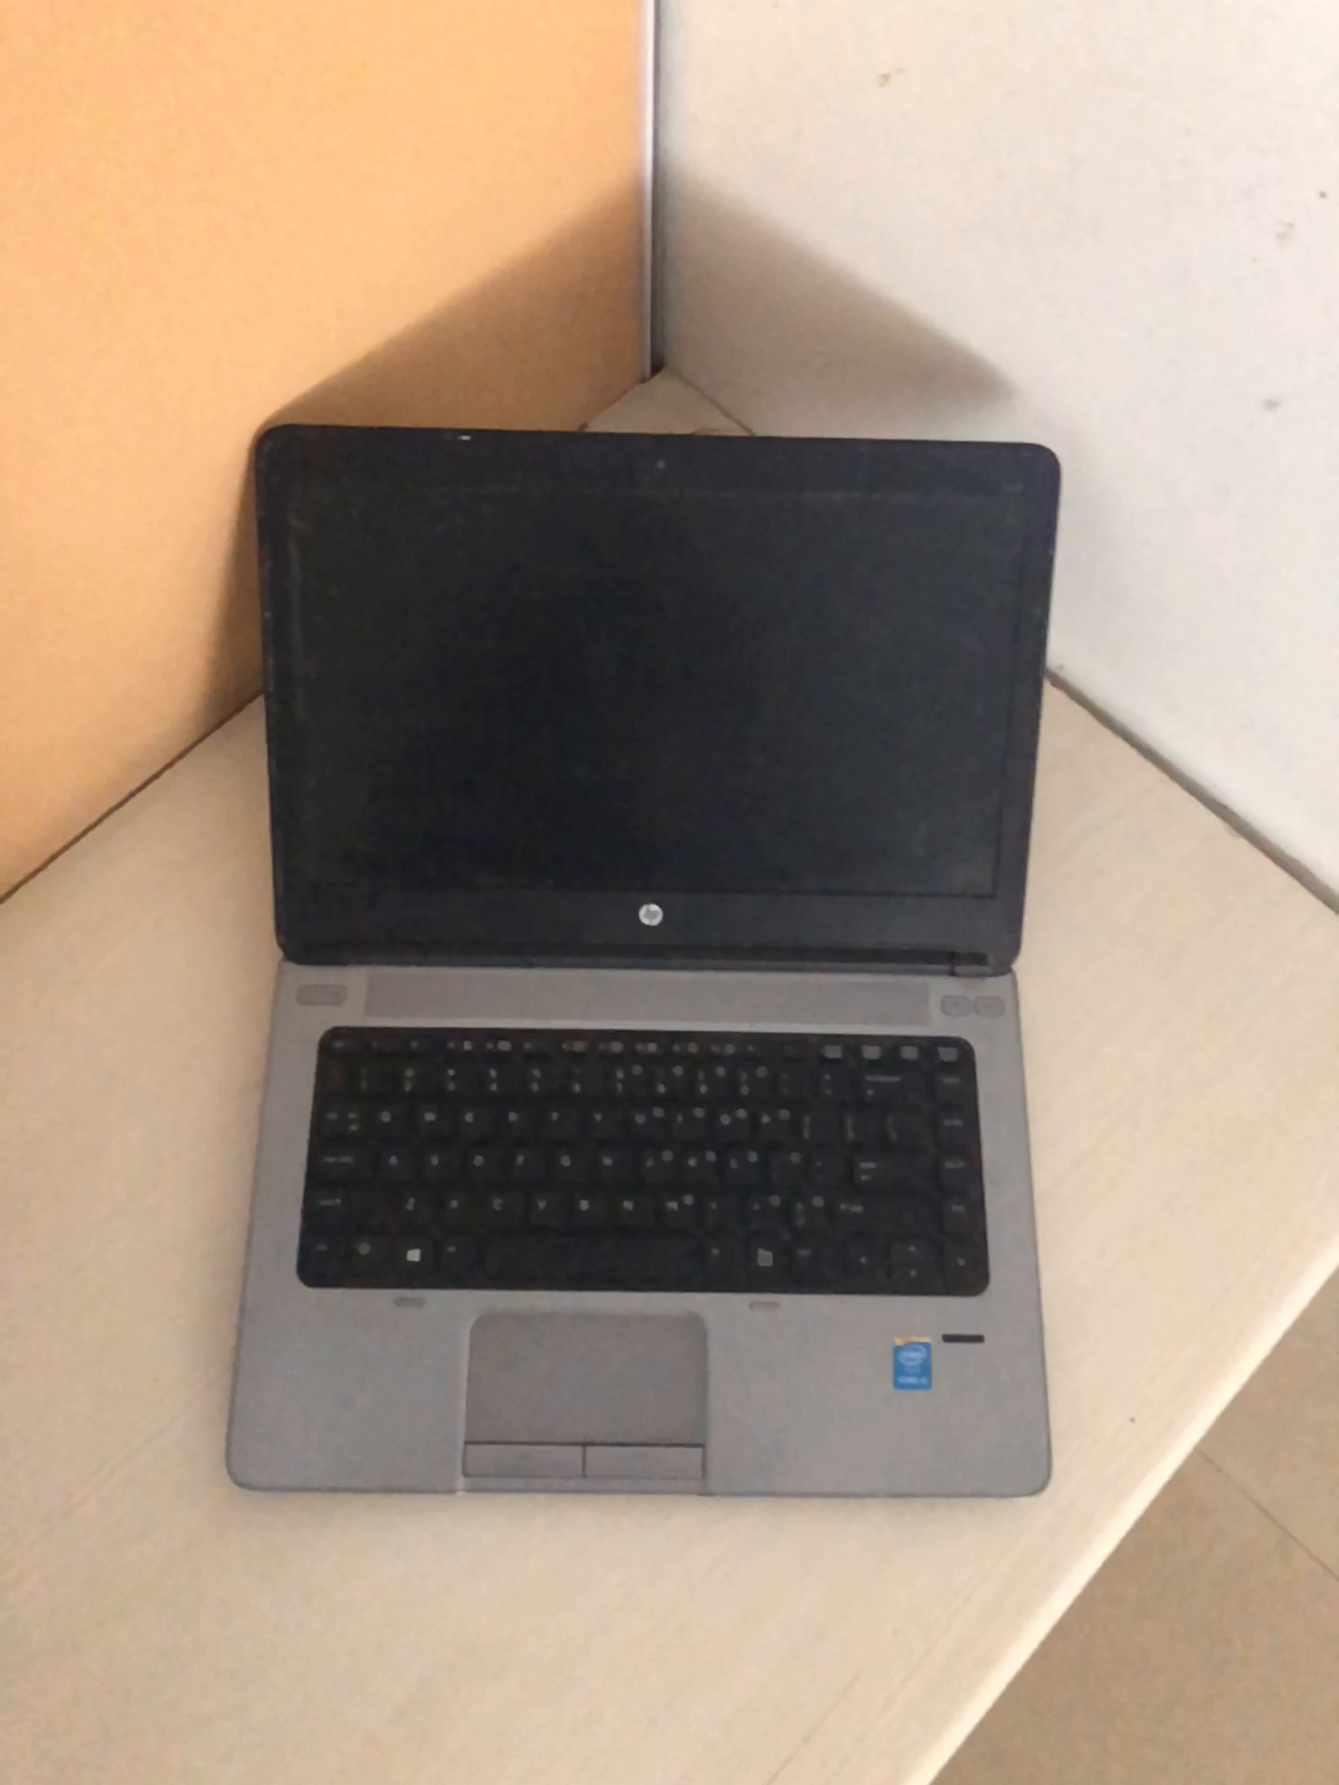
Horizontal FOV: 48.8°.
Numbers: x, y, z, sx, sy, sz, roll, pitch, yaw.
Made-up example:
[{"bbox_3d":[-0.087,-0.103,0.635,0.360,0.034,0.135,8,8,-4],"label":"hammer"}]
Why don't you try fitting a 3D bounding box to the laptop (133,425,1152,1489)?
[{"bbox_3d":[-0.004,0.022,0.584,0.316,0.126,0.392,1,69,-1],"label":"laptop"}]
